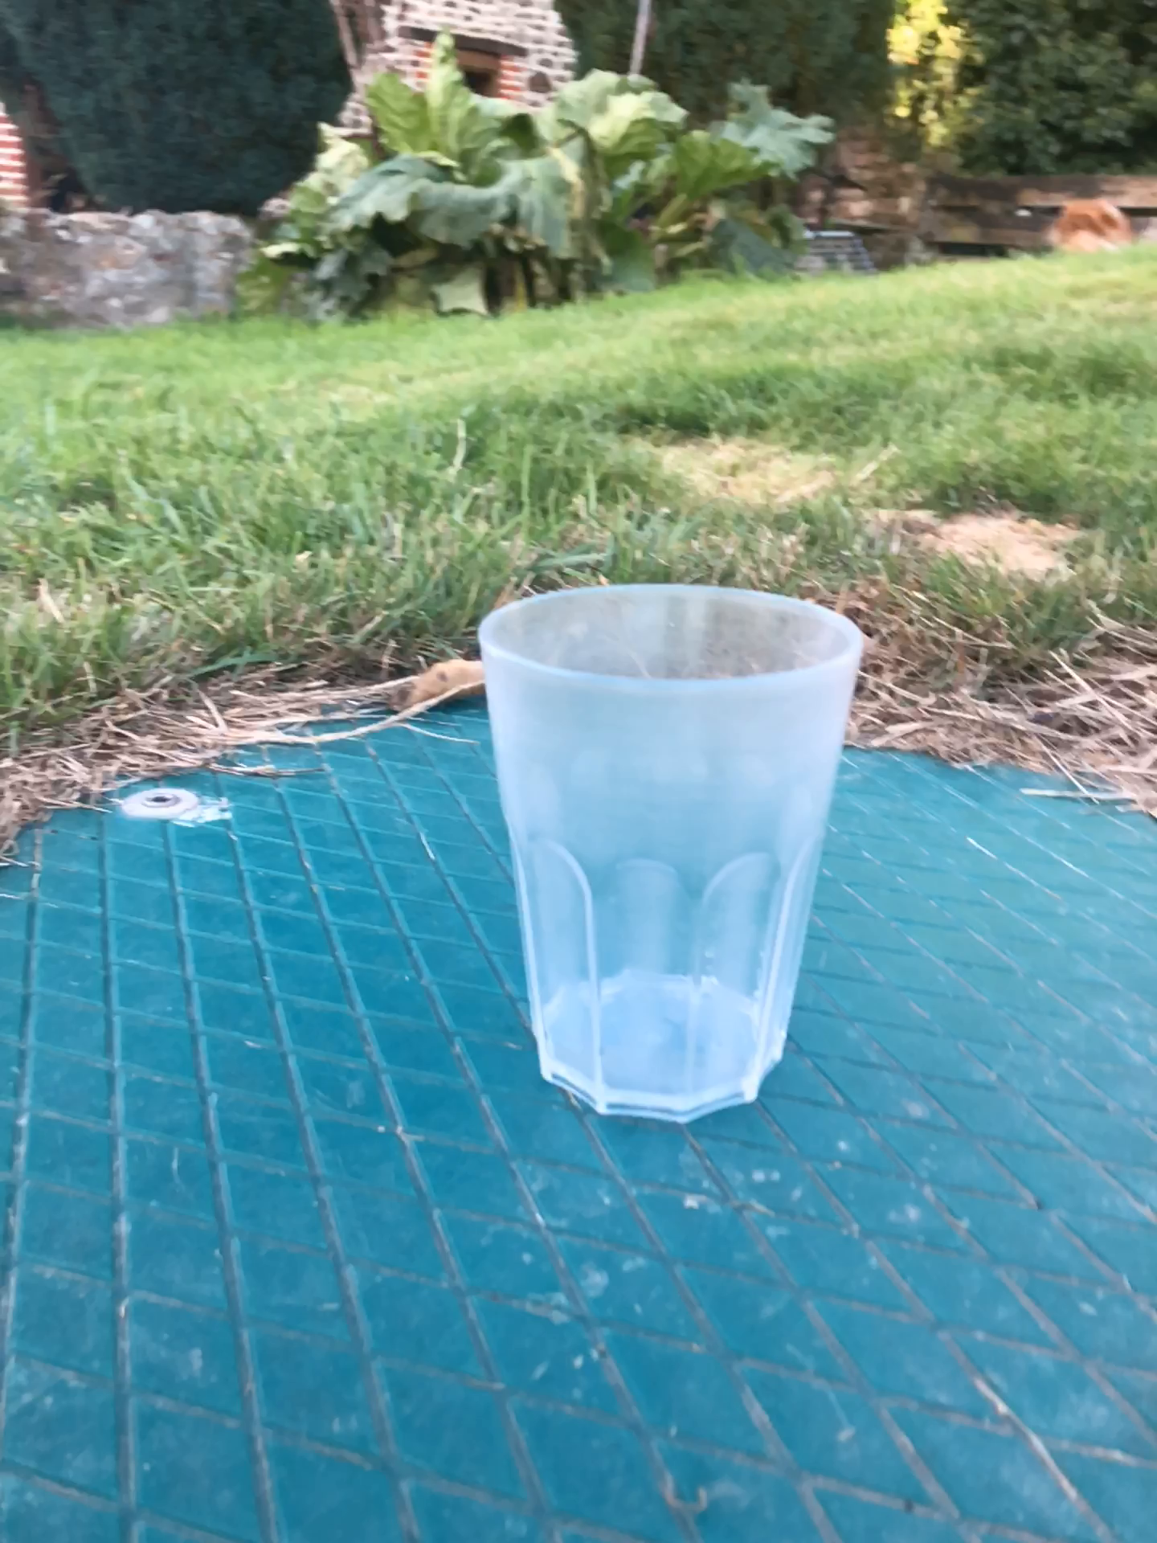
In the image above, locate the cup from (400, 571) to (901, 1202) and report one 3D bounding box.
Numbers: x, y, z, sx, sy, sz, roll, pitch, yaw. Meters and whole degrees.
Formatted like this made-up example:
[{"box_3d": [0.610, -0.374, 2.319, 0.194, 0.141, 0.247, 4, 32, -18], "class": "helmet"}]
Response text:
[{"box_3d": [0.020, 0.019, 0.311, 0.087, 0.113, 0.092, 1, 19, 0], "class": "cup"}]
